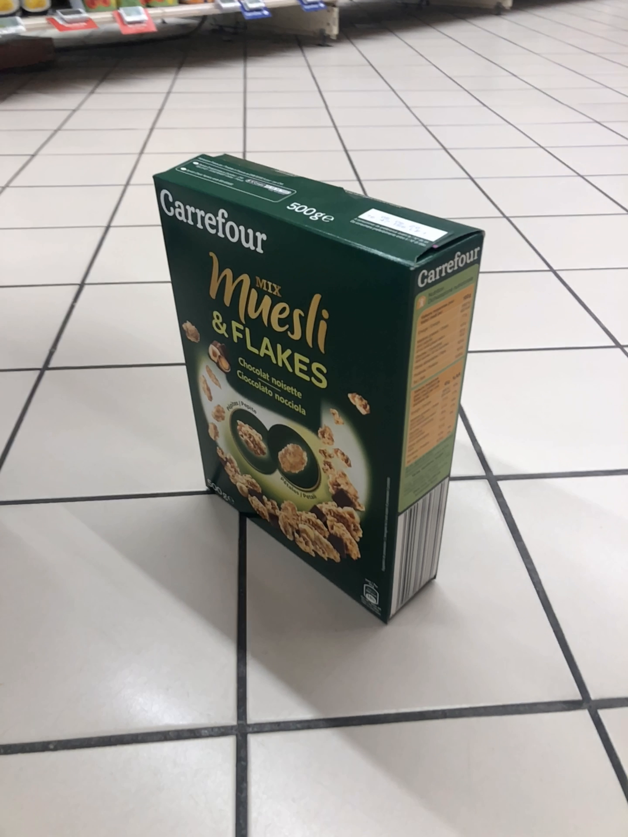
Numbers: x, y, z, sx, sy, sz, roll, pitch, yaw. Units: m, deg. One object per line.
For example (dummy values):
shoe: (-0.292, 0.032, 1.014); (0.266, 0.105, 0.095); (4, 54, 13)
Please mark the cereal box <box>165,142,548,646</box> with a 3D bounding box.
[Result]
cereal box: (0.015, -0.018, 0.435); (0.080, 0.248, 0.200); (-30, 45, -33)
